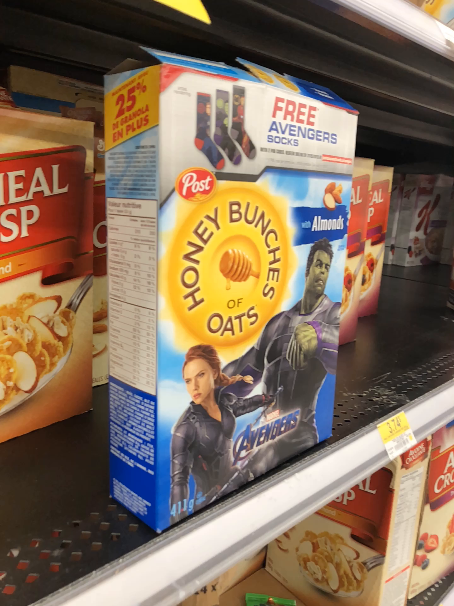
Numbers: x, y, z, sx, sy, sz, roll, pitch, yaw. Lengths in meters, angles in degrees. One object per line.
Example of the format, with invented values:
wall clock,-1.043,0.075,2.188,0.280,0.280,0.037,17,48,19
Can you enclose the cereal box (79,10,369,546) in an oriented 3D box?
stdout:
cereal box,0.003,-0.016,0.360,0.070,0.289,0.200,15,17,43
